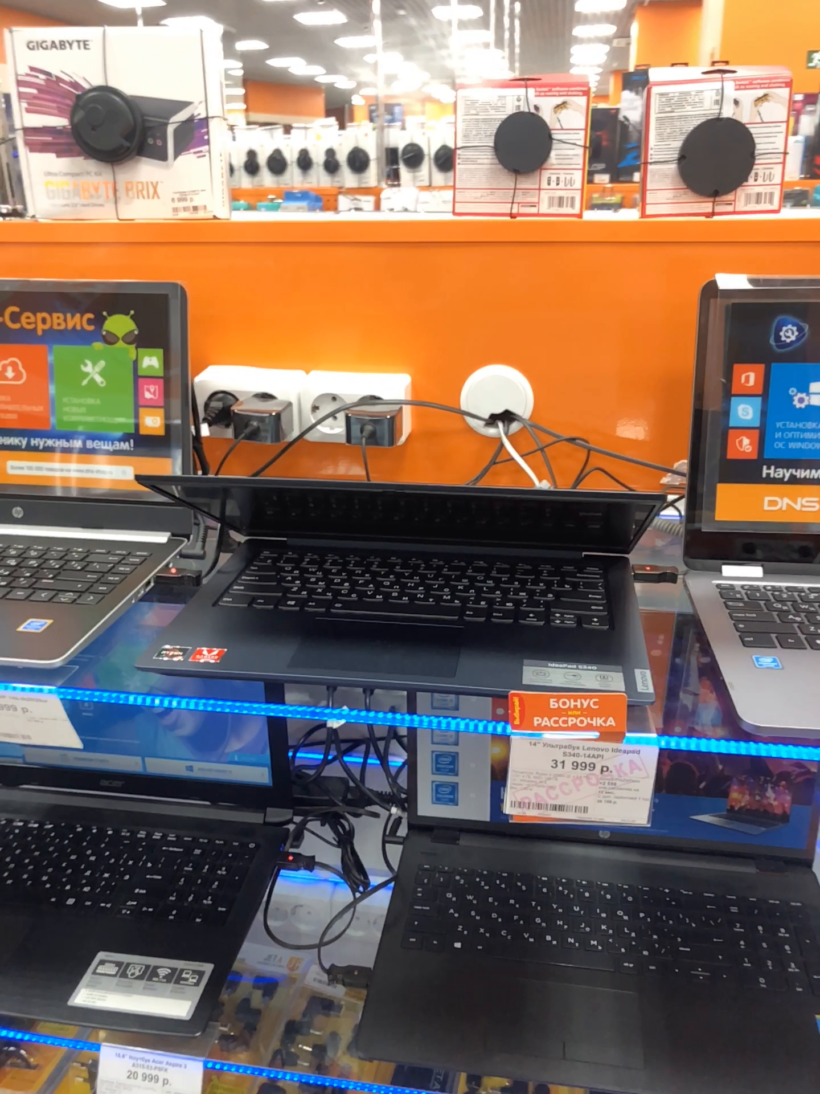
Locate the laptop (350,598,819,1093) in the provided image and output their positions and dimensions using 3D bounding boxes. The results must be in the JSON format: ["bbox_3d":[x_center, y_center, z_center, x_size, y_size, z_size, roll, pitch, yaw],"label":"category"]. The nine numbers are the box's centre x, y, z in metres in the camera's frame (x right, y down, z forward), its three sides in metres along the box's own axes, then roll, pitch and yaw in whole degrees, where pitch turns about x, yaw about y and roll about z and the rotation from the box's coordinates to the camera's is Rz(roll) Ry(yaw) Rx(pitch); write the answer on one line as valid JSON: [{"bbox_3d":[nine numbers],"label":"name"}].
[{"bbox_3d":[0.165,0.208,0.686,0.354,0.227,0.259,2,24,10],"label":"laptop"}]

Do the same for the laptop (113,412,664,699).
[{"bbox_3d":[-0.003,-0.011,0.596,0.302,0.108,0.204,2,22,11],"label":"laptop"}]

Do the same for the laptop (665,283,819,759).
[{"bbox_3d":[0.357,-0.042,0.552,0.330,0.203,0.258,2,22,5],"label":"laptop"}]

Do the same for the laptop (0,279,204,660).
[{"bbox_3d":[-0.356,-0.077,0.663,0.302,0.200,0.251,3,22,9],"label":"laptop"}]
